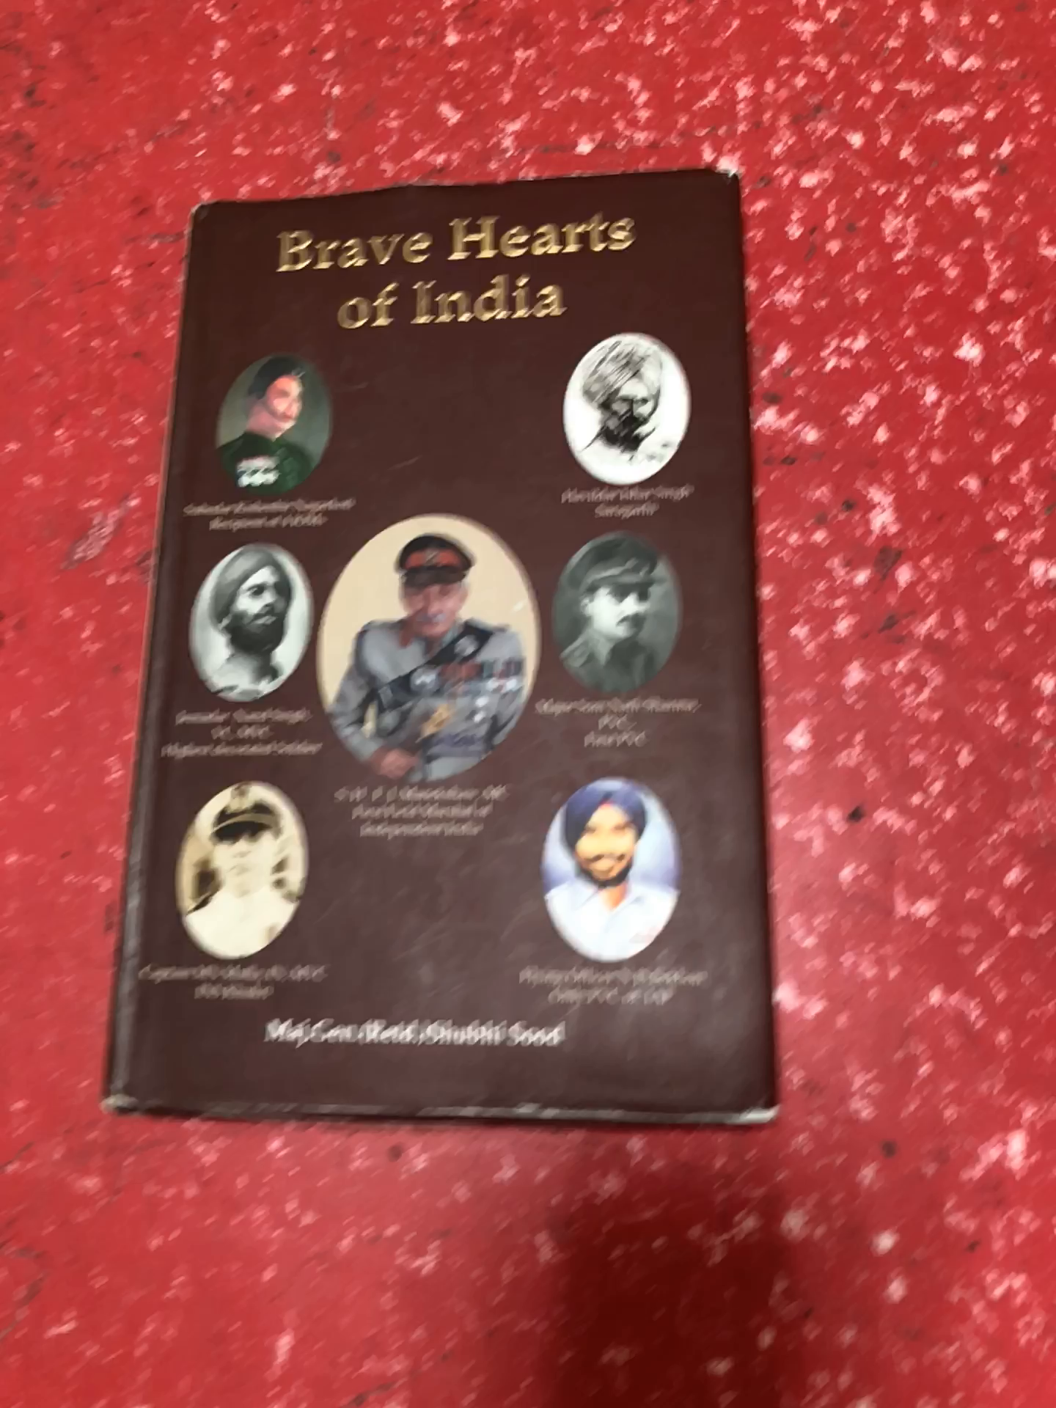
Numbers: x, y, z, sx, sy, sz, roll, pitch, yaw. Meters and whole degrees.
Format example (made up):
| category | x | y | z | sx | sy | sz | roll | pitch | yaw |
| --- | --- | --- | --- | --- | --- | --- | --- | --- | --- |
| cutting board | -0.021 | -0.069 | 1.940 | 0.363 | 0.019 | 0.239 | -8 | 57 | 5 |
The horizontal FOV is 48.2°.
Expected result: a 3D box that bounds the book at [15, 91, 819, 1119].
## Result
| category | x | y | z | sx | sy | sz | roll | pitch | yaw |
| --- | --- | --- | --- | --- | --- | --- | --- | --- | --- |
| book | -0.021 | -0.027 | 0.260 | 0.150 | 0.030 | 0.220 | -2 | 74 | 7 |
